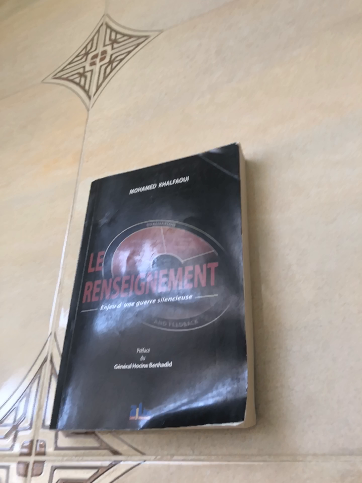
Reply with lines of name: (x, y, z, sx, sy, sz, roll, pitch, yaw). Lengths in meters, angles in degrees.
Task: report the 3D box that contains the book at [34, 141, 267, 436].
book: (-0.023, 0.033, 0.301, 0.146, 0.037, 0.201, -11, 61, 19)
